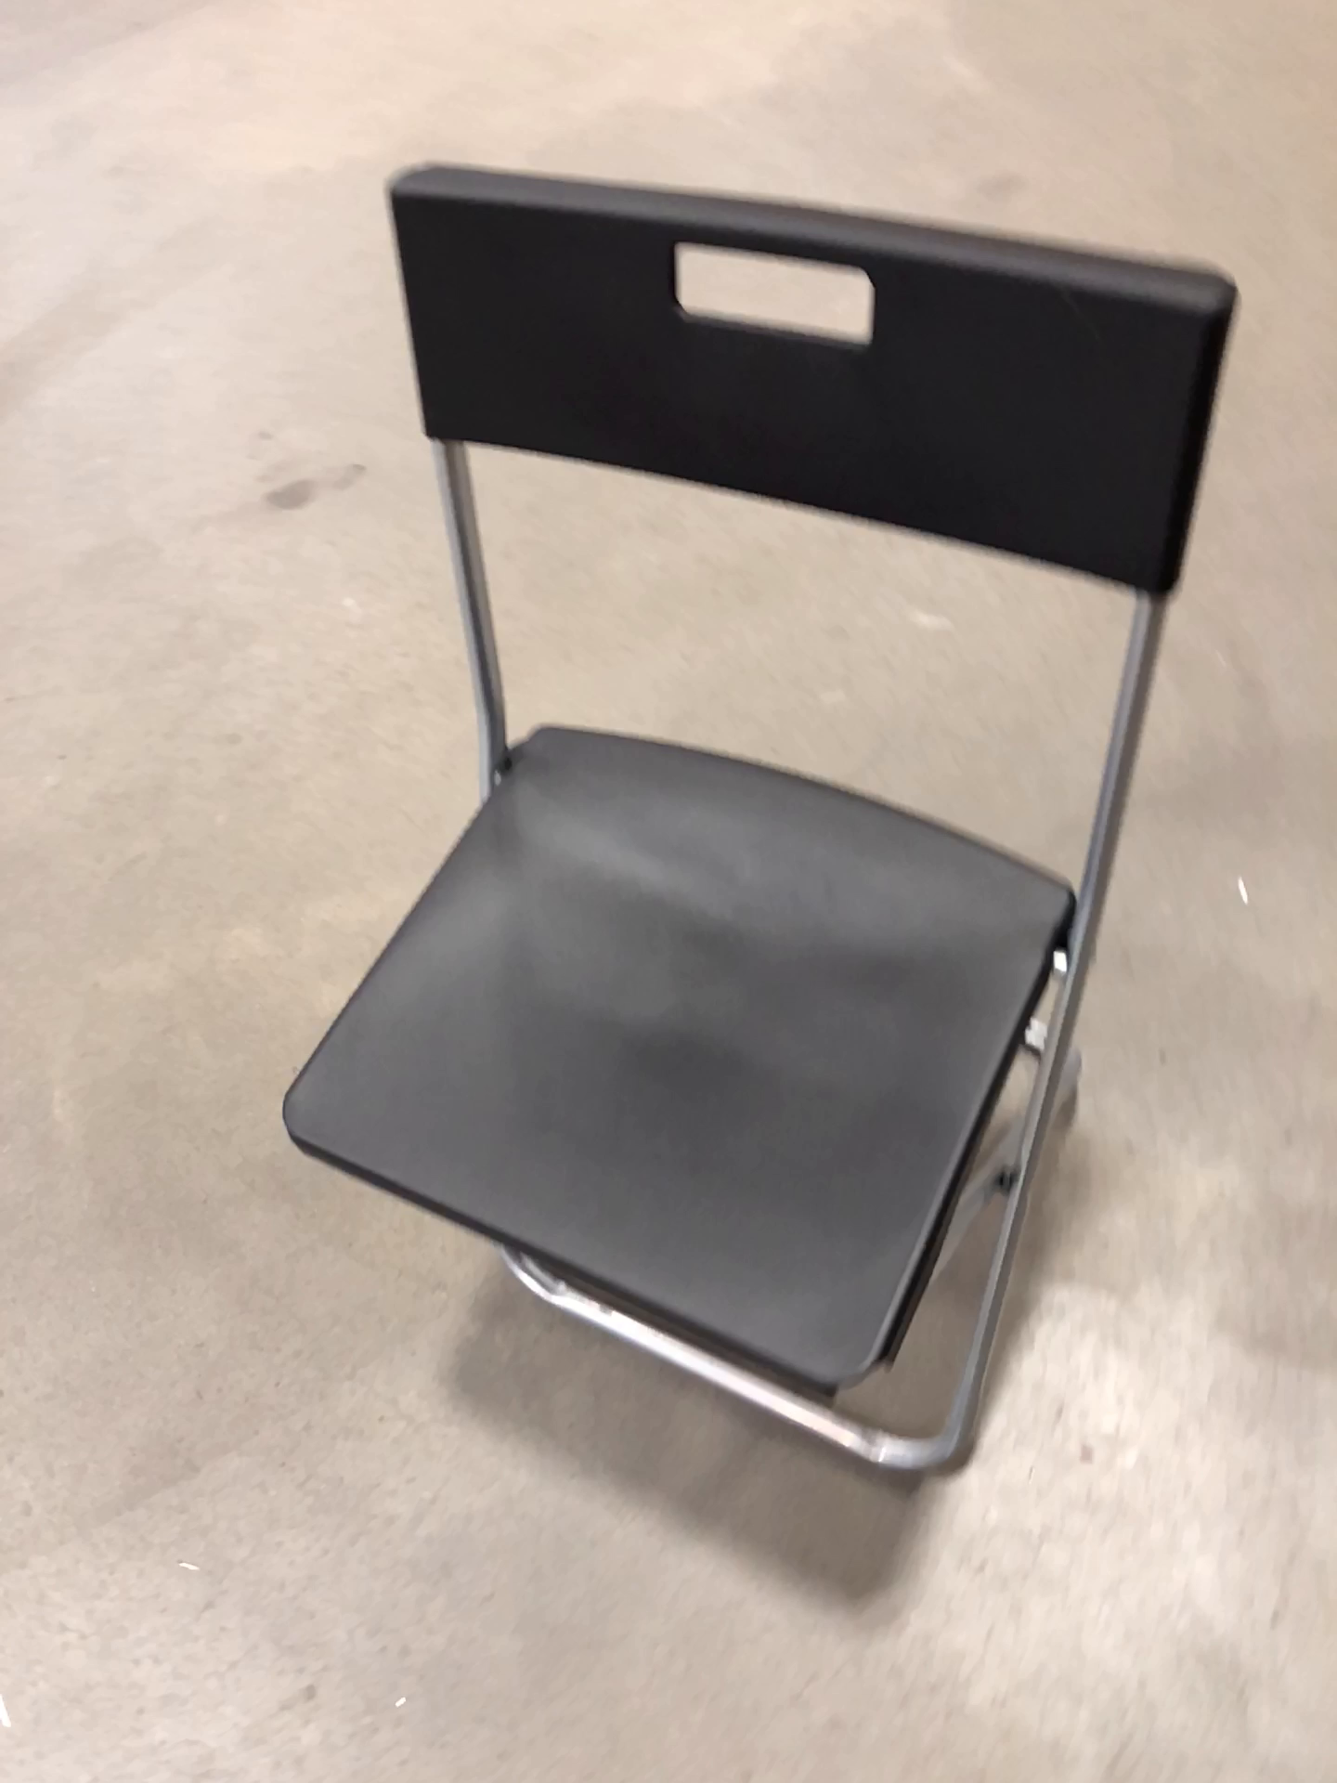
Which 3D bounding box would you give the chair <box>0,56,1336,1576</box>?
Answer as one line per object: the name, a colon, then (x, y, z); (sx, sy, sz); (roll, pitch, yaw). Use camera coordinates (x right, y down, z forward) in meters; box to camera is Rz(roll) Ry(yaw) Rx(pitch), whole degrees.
chair: (0.042, 0.030, 0.871); (0.461, 0.758, 0.460); (17, 65, 22)
